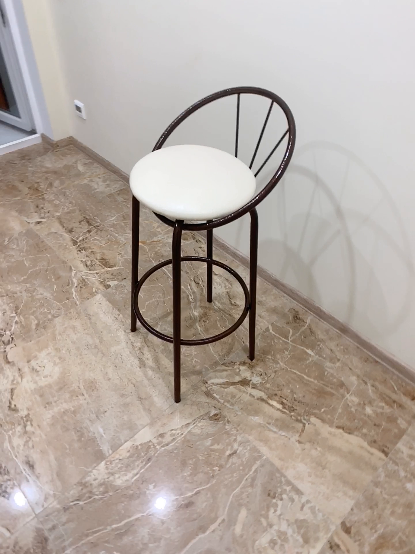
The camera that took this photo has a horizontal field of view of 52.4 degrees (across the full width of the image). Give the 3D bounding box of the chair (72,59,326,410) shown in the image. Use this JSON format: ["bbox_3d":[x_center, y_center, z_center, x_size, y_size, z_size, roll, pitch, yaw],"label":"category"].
[{"bbox_3d":[-0.045,-0.082,1.204,0.401,0.835,0.402,-22,49,-23],"label":"chair"}]
